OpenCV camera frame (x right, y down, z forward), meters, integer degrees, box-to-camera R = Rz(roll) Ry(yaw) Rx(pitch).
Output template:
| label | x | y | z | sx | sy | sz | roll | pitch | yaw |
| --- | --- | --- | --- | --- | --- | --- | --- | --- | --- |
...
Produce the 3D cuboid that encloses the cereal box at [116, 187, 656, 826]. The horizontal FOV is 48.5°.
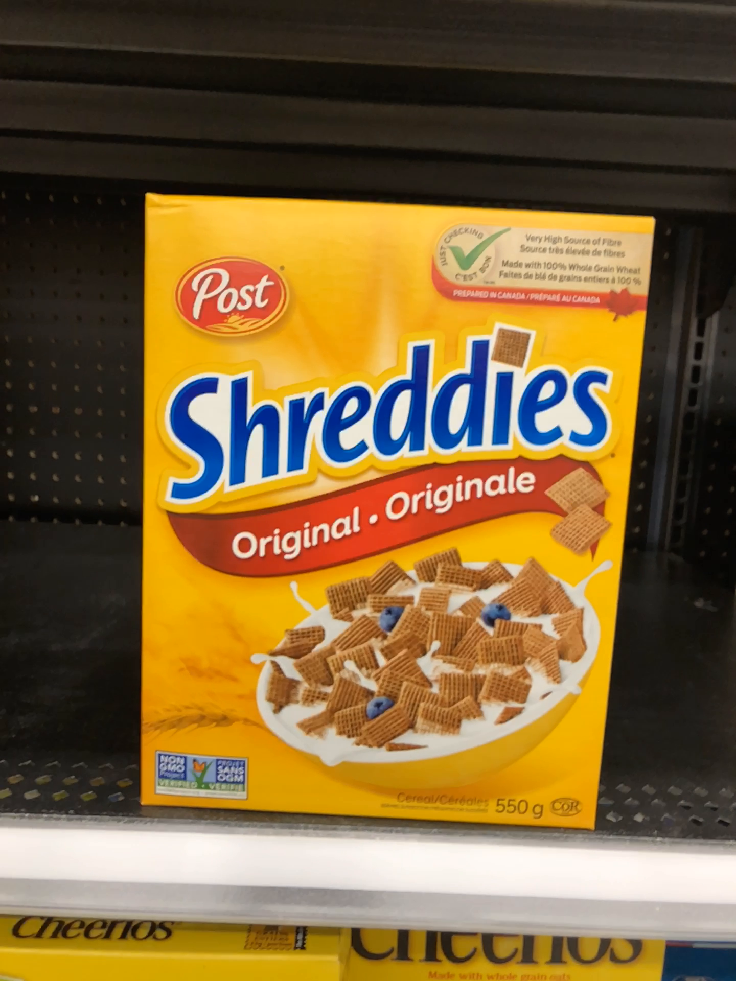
| label | x | y | z | sx | sy | sz | roll | pitch | yaw |
| --- | --- | --- | --- | --- | --- | --- | --- | --- | --- |
| cereal box | 0.001 | 0.009 | 0.373 | 0.210 | 0.259 | 0.070 | 3 | 9 | -1 |
